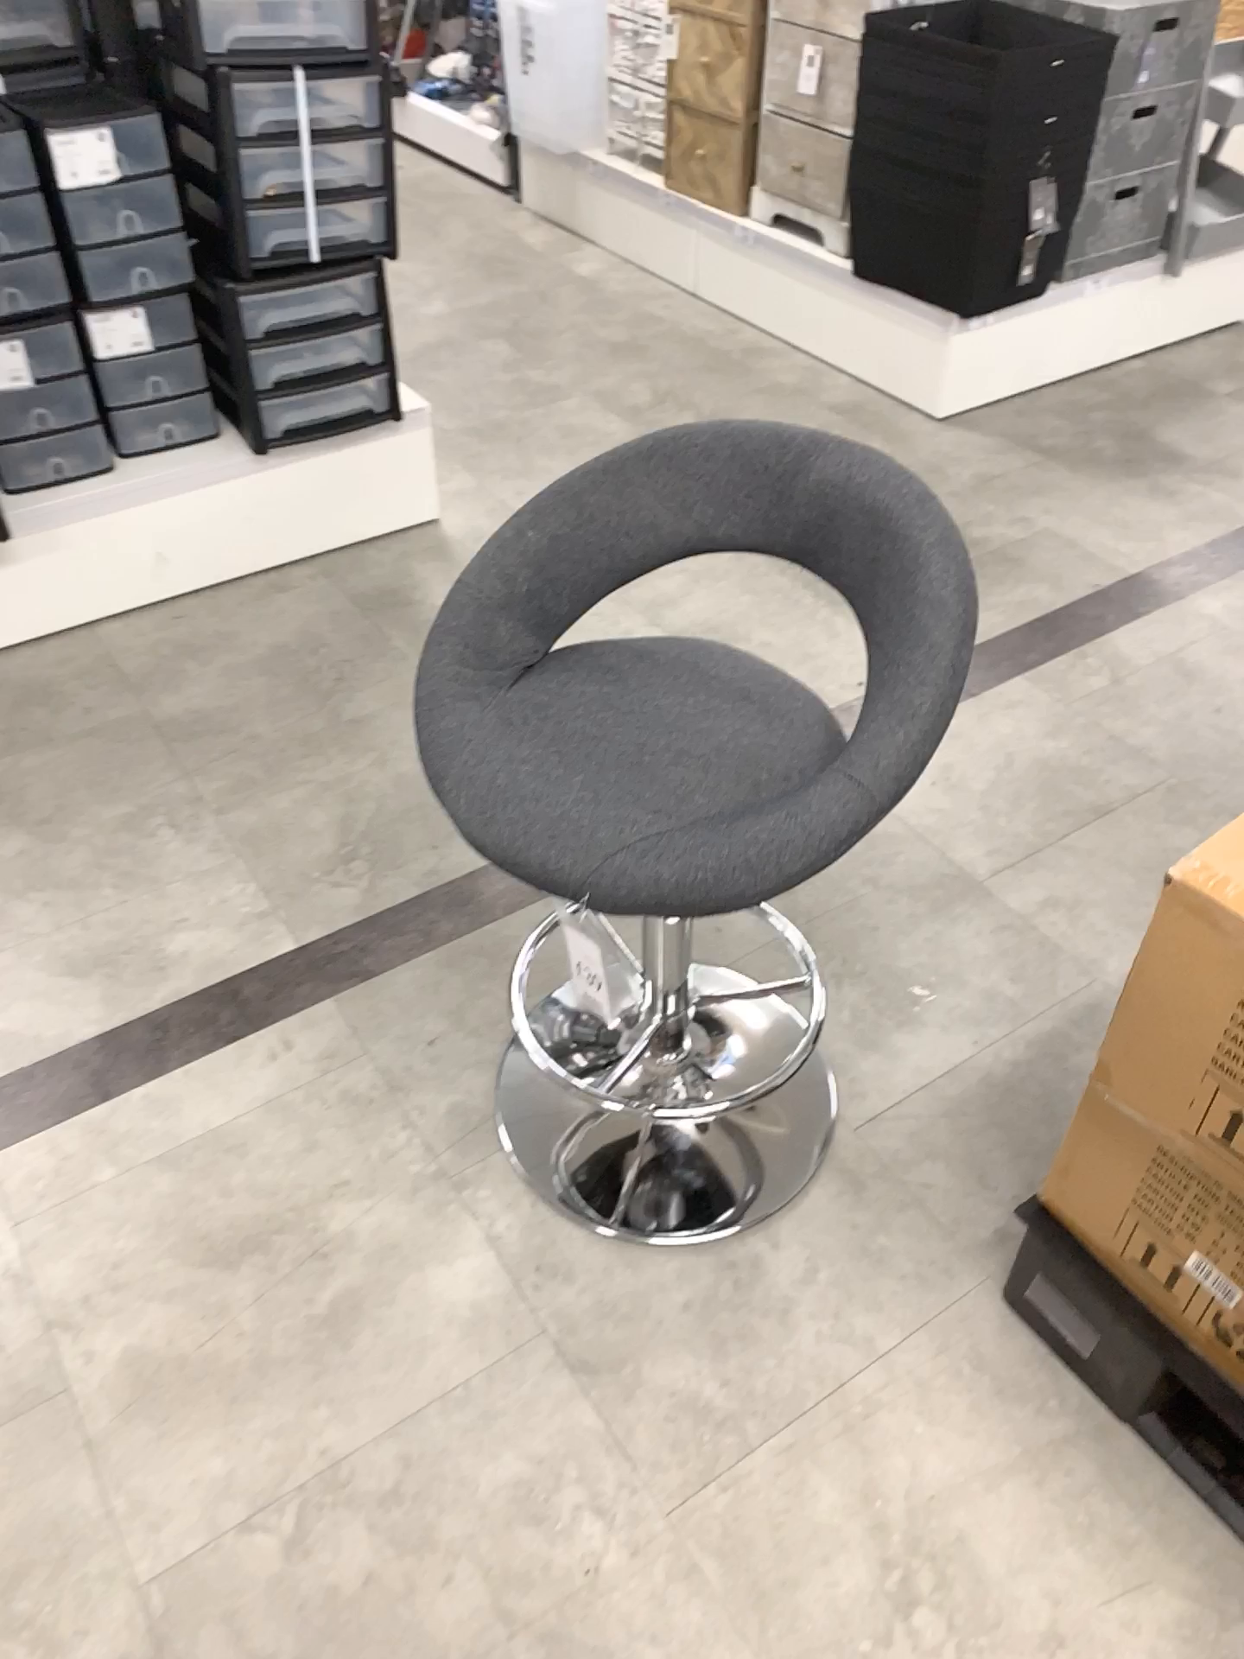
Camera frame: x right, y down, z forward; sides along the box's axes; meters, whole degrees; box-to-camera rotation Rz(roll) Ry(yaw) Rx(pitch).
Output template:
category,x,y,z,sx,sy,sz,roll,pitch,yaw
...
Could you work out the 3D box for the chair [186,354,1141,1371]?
category,x,y,z,sx,sy,sz,roll,pitch,yaw
chair,0.034,-0.001,1.317,0.595,0.663,0.575,-32,51,-31
